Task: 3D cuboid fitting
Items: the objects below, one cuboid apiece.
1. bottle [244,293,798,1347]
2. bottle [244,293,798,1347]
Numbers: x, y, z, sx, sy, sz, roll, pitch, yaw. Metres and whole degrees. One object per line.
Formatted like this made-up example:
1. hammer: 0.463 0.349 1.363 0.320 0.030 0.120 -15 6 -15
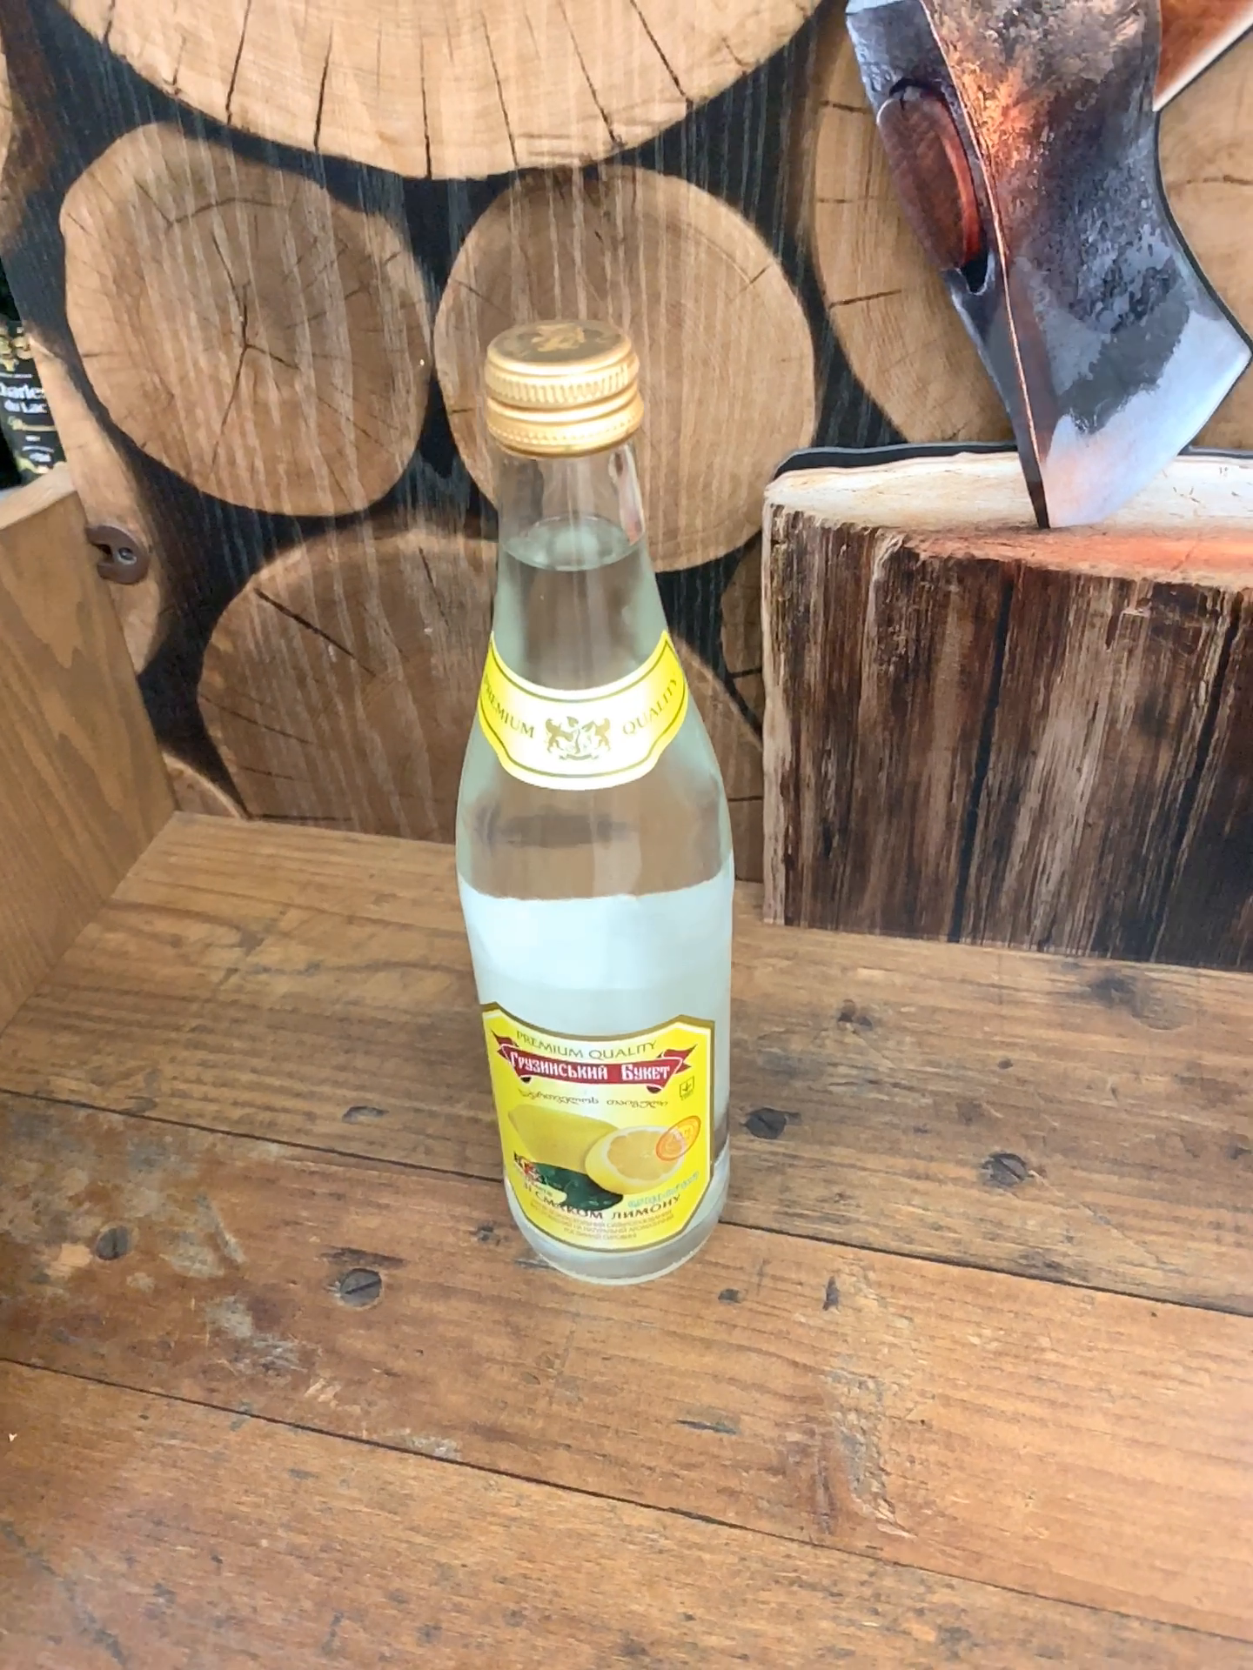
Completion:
1. bottle: -0.009 0.011 0.274 0.070 0.219 0.070 -1 39 1
2. bottle: -0.009 0.011 0.274 0.070 0.219 0.070 -1 39 1
